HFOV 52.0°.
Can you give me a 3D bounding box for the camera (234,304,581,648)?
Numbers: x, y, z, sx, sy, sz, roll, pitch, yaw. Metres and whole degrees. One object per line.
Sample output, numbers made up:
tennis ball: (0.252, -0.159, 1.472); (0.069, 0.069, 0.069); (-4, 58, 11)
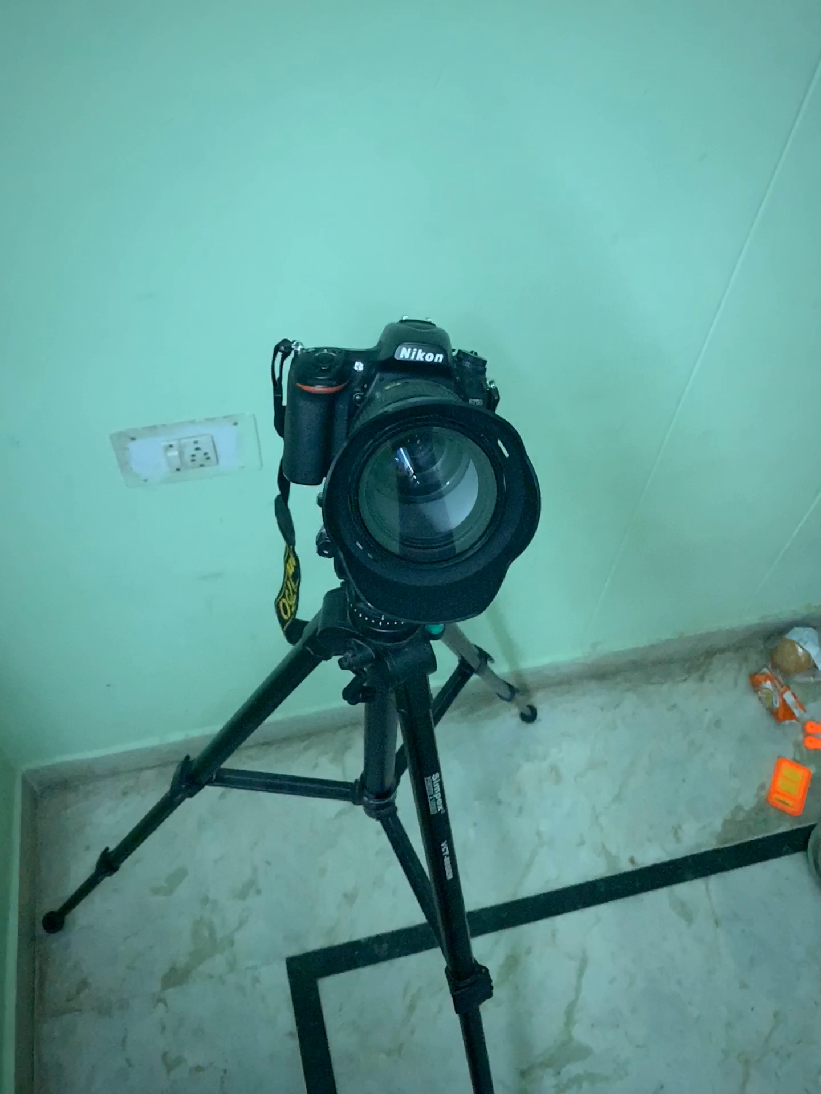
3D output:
camera: (-0.010, -0.060, 0.507); (0.151, 0.120, 0.249); (4, 24, -4)
